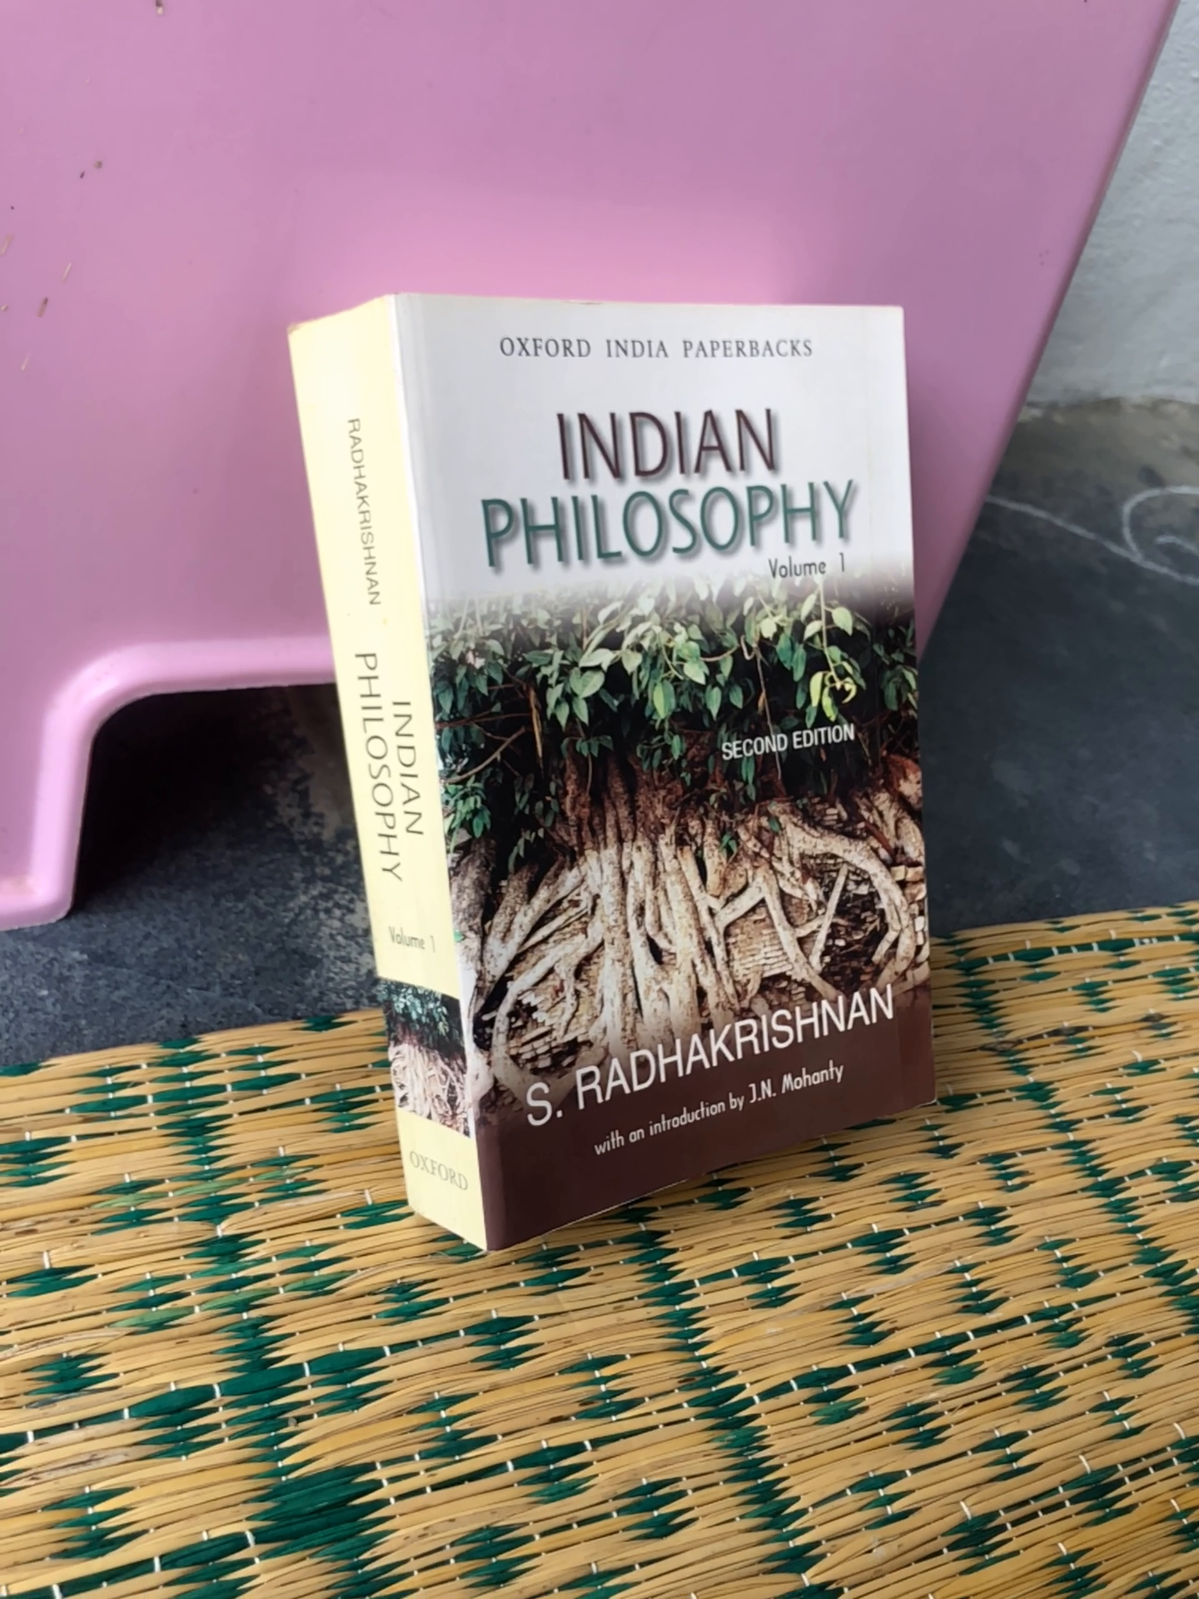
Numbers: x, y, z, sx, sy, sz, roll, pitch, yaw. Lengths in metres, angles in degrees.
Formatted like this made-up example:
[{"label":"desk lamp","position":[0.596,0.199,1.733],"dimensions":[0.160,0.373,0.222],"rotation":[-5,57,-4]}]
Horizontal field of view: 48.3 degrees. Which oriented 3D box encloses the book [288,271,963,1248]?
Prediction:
[{"label":"book","position":[0.010,-0.016,0.351],"dimensions":[0.141,0.210,0.070],"rotation":[-9,5,-31]}]
